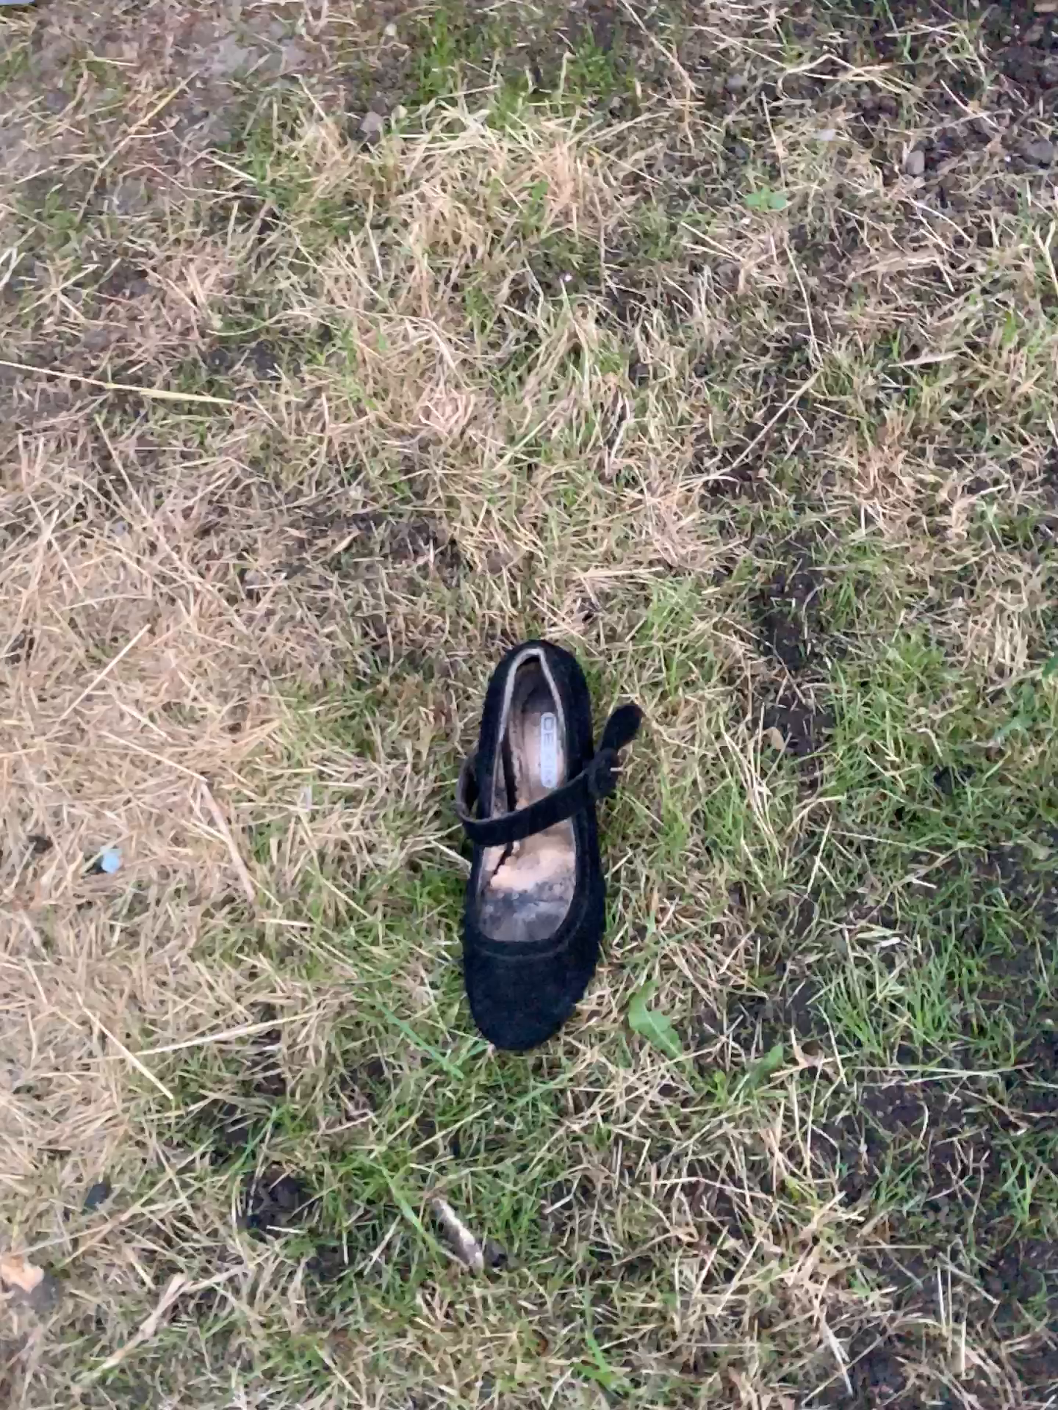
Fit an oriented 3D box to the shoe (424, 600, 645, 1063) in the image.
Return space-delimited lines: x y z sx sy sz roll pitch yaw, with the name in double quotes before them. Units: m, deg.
"shoe" 0.009 0.076 0.636 0.110 0.110 0.251 1 69 3
